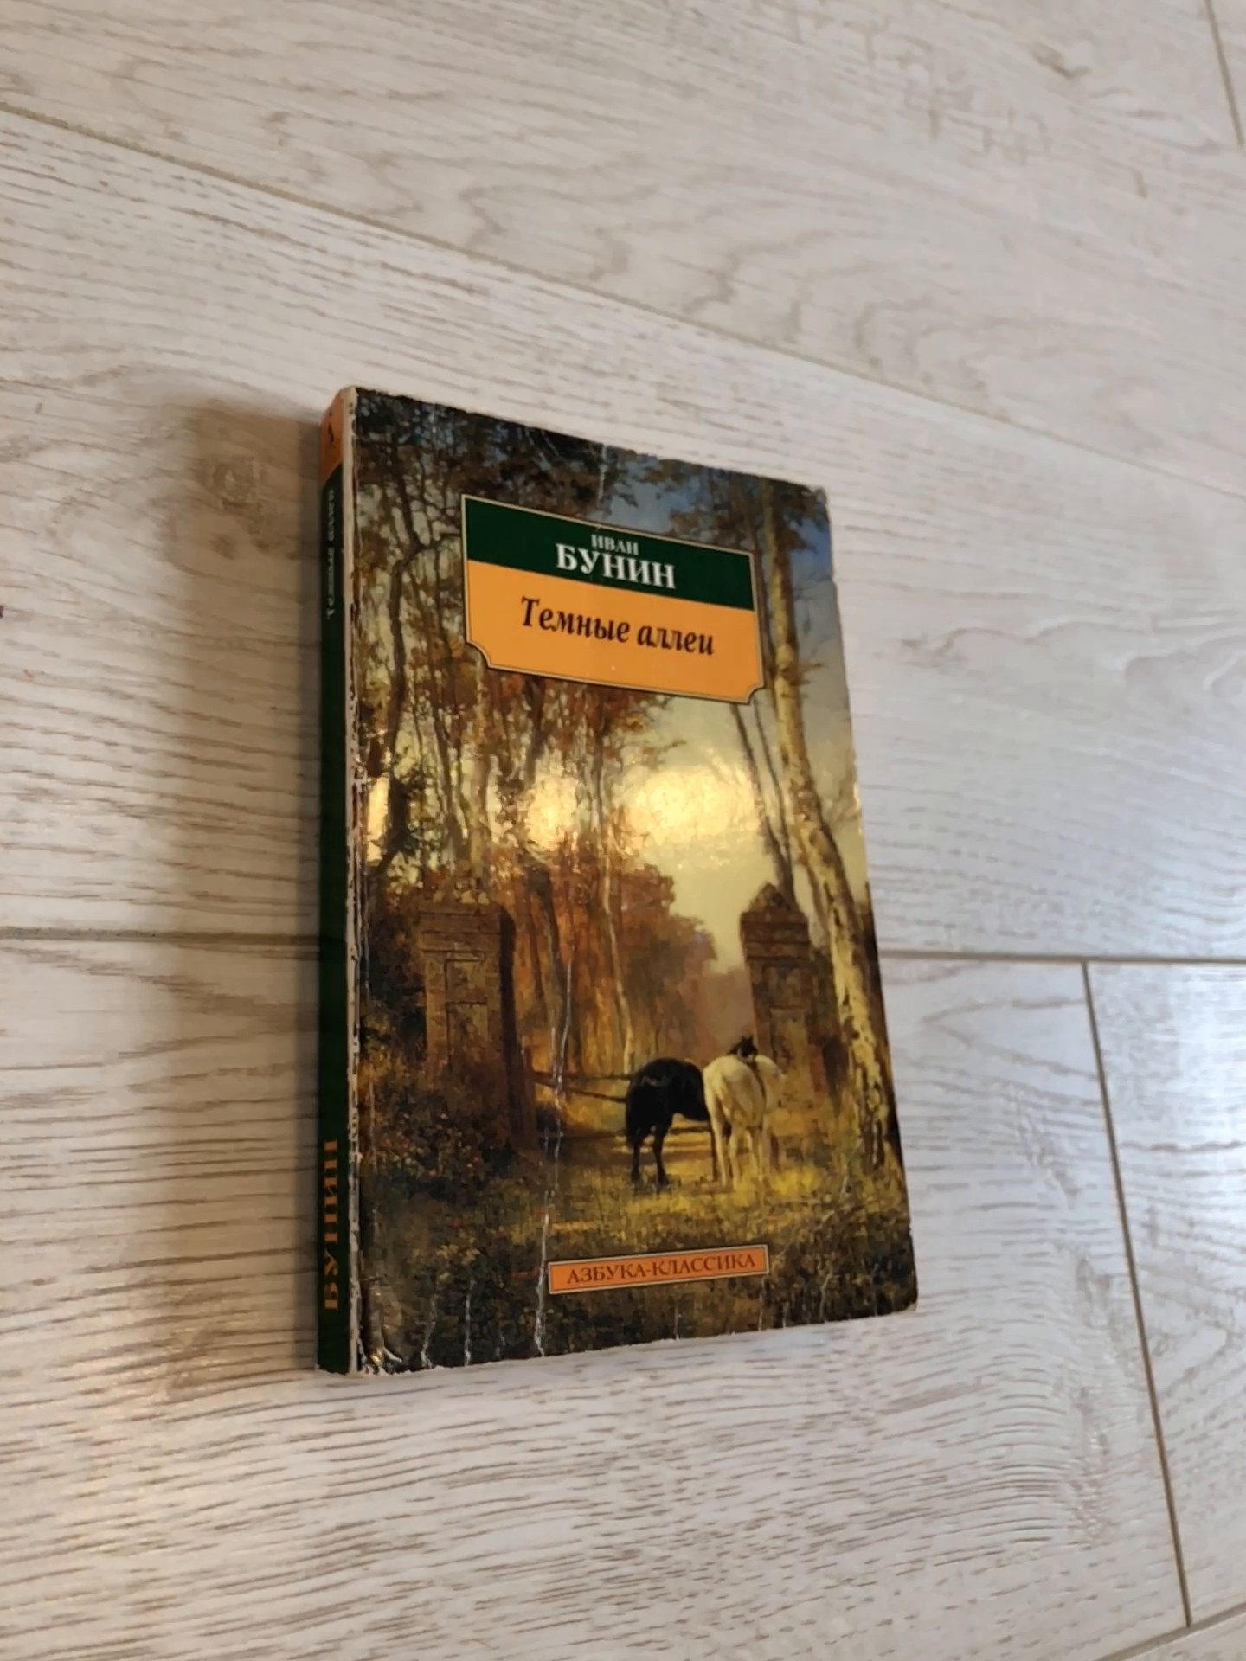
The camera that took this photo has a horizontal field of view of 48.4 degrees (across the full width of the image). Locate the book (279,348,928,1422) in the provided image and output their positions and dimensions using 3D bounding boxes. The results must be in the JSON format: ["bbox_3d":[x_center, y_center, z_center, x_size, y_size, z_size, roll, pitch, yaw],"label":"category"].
[{"bbox_3d":[-0.005,0.007,0.260,0.113,0.024,0.177,4,73,-29],"label":"book"}]
